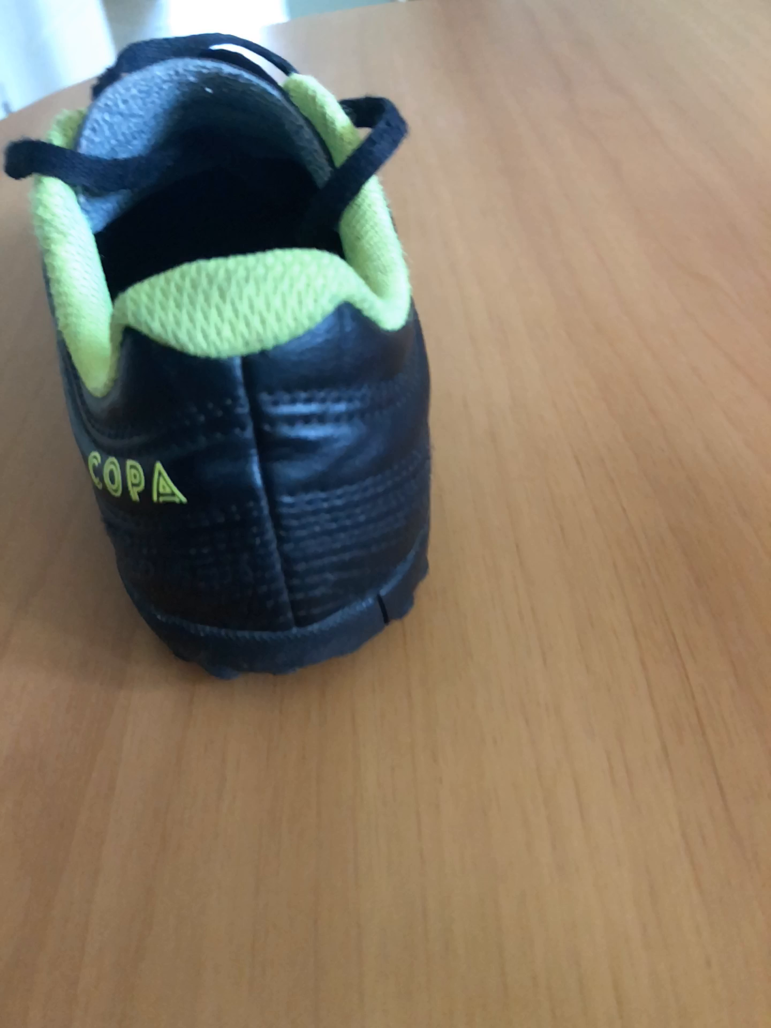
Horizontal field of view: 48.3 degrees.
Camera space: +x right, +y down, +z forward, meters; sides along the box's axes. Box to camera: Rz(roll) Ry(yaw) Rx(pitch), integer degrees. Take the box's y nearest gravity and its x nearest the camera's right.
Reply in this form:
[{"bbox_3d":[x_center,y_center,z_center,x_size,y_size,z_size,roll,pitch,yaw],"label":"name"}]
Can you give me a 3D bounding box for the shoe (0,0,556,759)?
[{"bbox_3d":[-0.038,-0.065,0.227,0.090,0.090,0.221,-12,43,-5],"label":"shoe"}]
